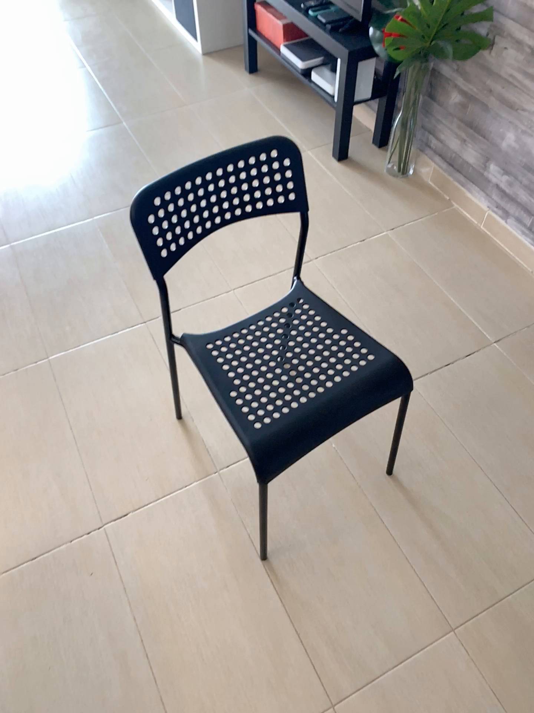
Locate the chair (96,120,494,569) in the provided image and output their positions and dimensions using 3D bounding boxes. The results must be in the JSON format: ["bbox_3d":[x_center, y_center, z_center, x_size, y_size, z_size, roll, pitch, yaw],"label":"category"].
[{"bbox_3d":[0.028,0.007,1.133,0.420,0.687,0.492,-28,57,-19],"label":"chair"}]
